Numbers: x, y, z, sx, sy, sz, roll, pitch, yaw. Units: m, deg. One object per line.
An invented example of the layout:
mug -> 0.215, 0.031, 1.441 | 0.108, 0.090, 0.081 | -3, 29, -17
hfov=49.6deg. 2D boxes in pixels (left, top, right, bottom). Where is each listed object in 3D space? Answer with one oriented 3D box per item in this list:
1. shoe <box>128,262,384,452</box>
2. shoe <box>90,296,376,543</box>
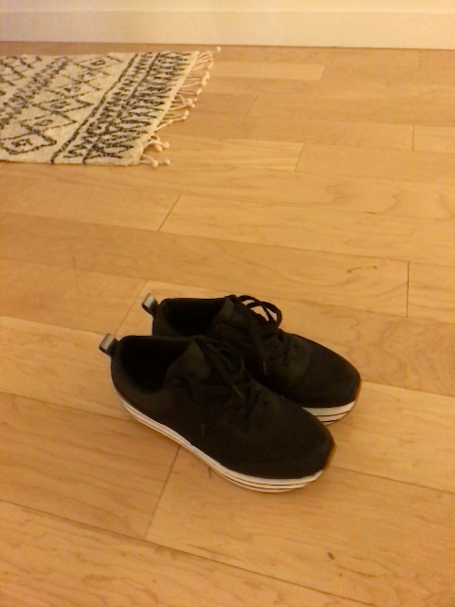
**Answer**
shoe -> 0.034, 0.061, 0.619 | 0.280, 0.139, 0.101 | 15, 47, 20
shoe -> 0.000, 0.120, 0.559 | 0.290, 0.139, 0.101 | 22, 50, 26
